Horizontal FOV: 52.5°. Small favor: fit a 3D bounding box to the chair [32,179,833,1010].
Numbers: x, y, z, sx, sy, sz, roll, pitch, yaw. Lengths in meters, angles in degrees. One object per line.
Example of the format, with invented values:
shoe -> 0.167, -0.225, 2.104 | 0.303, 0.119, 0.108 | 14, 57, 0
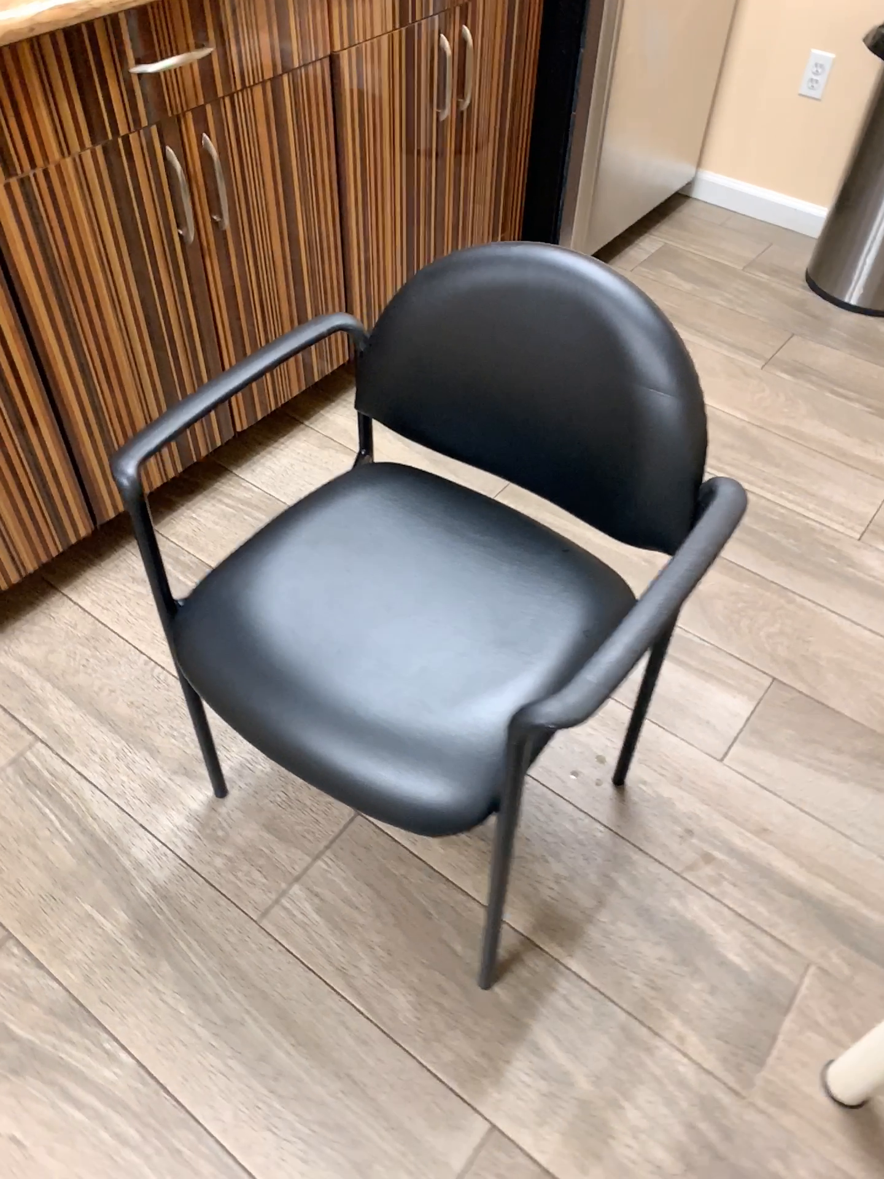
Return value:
chair -> -0.002, 0.017, 1.148 | 0.591, 0.737, 0.522 | 28, 53, 21
